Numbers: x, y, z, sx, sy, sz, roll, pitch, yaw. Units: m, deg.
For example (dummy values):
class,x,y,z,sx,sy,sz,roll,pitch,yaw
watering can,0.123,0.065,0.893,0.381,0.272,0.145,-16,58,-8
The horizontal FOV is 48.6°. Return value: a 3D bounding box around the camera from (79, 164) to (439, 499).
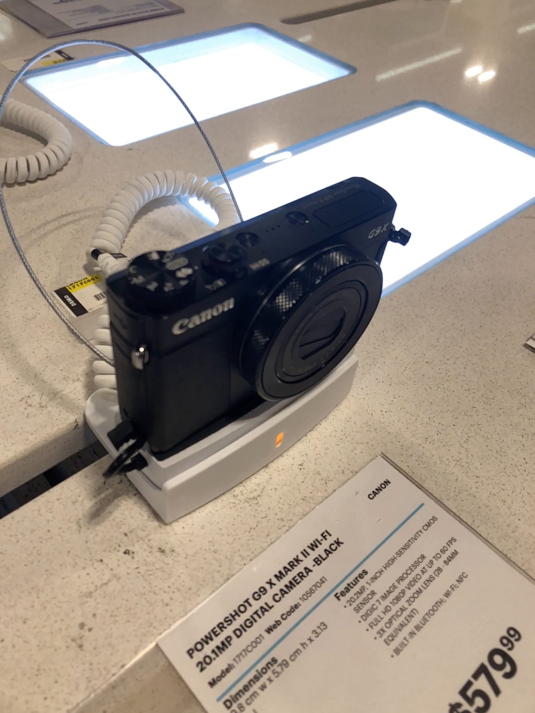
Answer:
class,x,y,z,sx,sy,sz,roll,pitch,yaw
camera,0.001,-0.011,0.179,0.100,0.060,0.030,-30,55,-29
